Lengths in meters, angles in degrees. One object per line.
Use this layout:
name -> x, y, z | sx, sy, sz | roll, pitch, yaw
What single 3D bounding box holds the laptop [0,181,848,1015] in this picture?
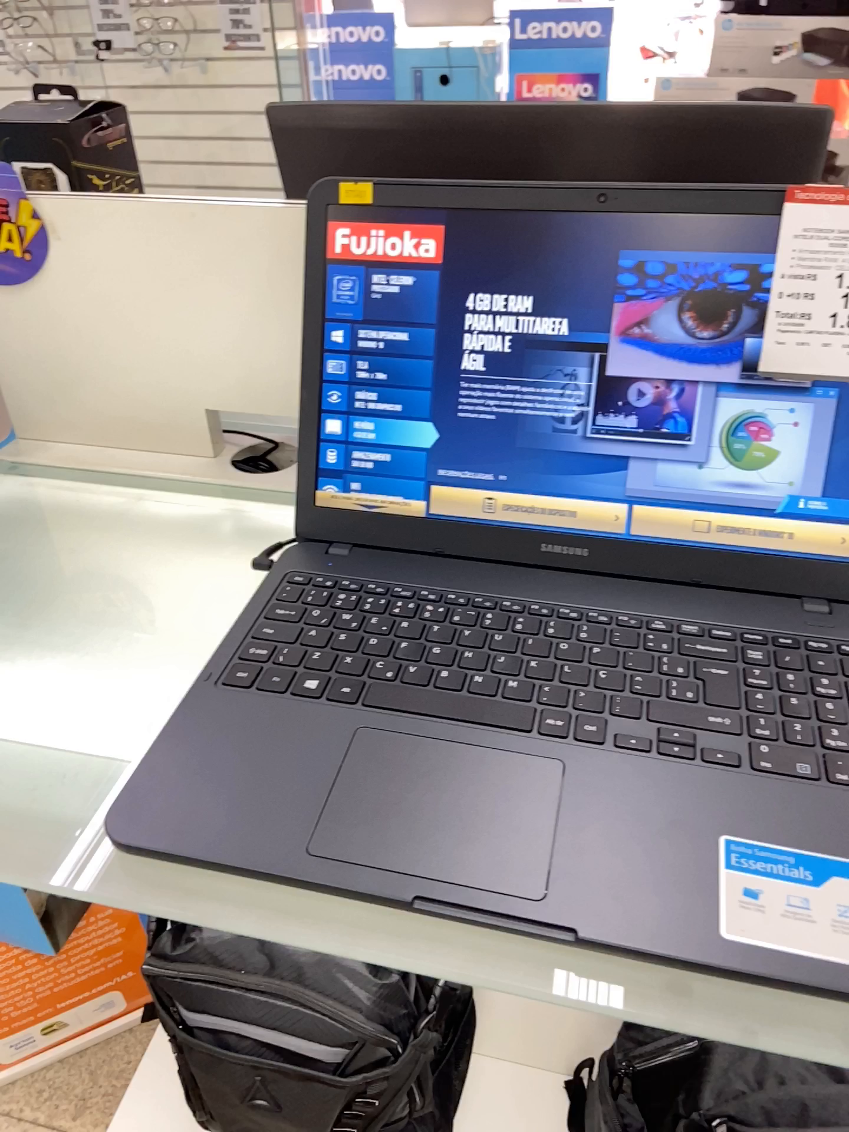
laptop -> 0.067, -0.041, 0.437 | 0.366, 0.207, 0.348 | 6, 36, 13
